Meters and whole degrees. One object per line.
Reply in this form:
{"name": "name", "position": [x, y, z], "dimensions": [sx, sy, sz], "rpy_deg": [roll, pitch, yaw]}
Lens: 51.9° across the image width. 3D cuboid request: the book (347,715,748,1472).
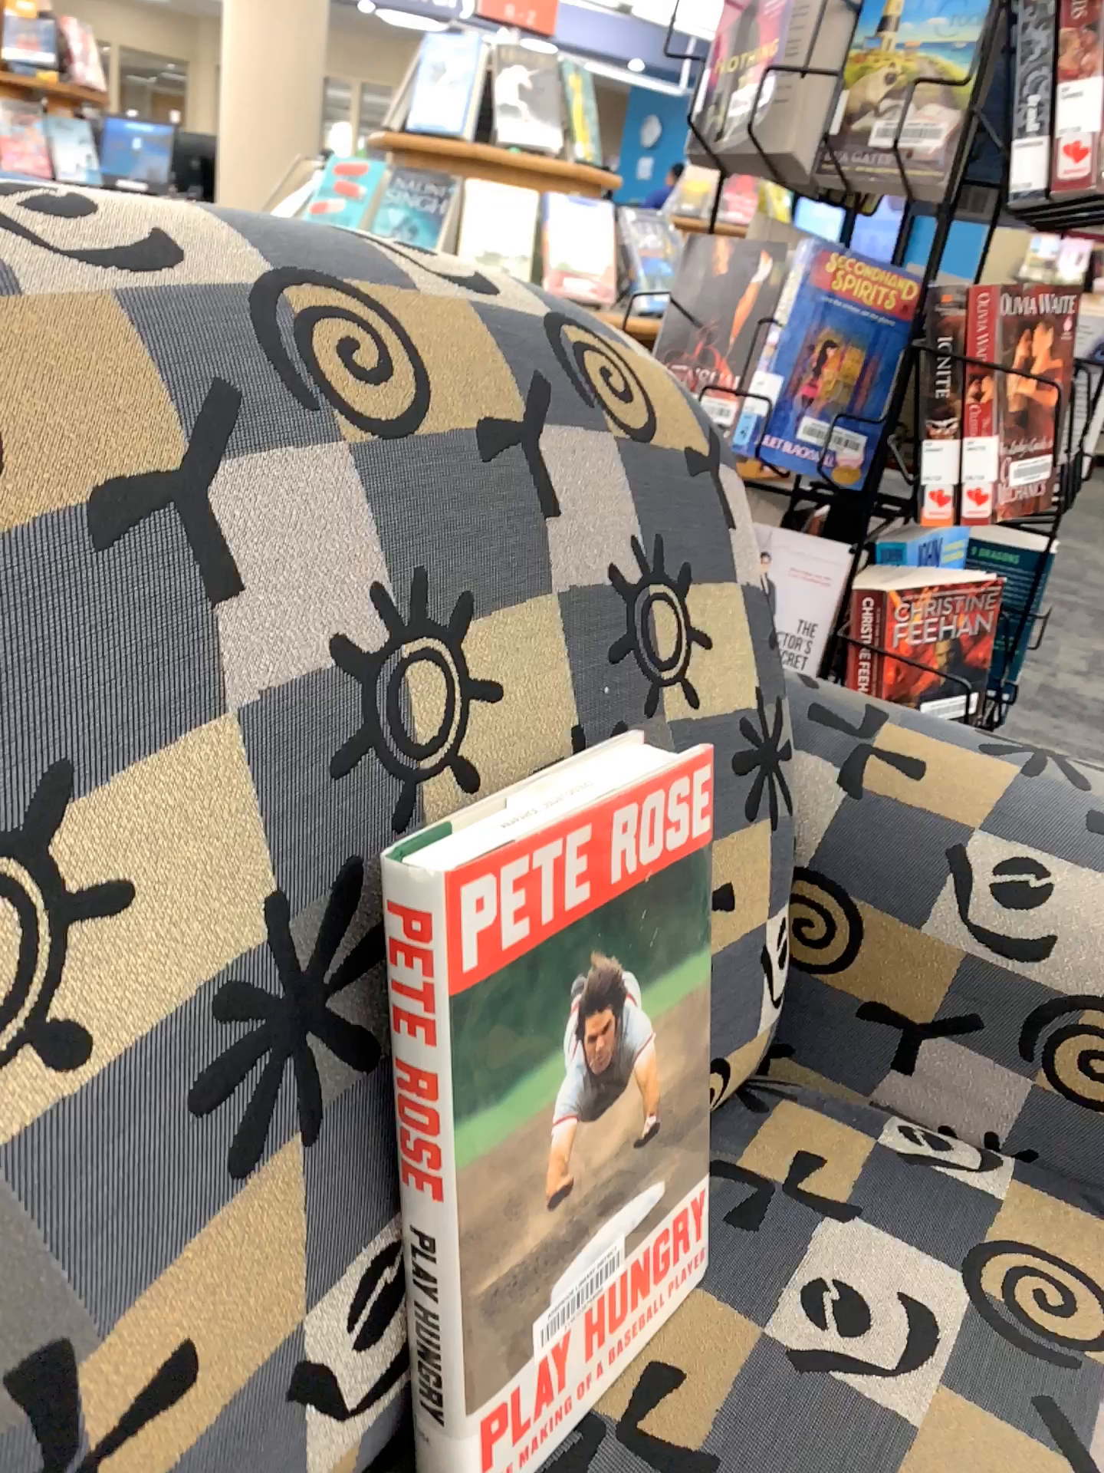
{"name": "book", "position": [0.011, 0.134, 0.433], "dimensions": [0.040, 0.249, 0.191], "rpy_deg": [8, 16, 35]}
